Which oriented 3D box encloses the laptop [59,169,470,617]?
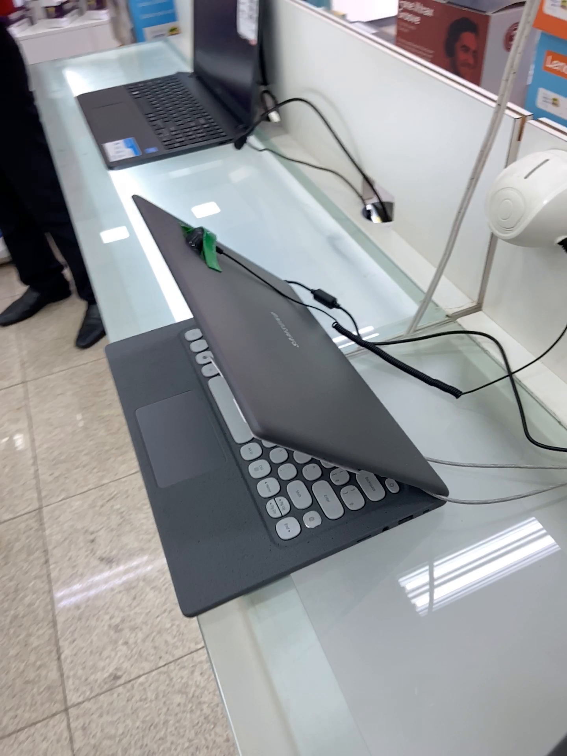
[{"bbox_3d":[-0.037,-0.017,0.486,0.208,0.153,0.312,-20,45,-13],"label":"laptop"}]
